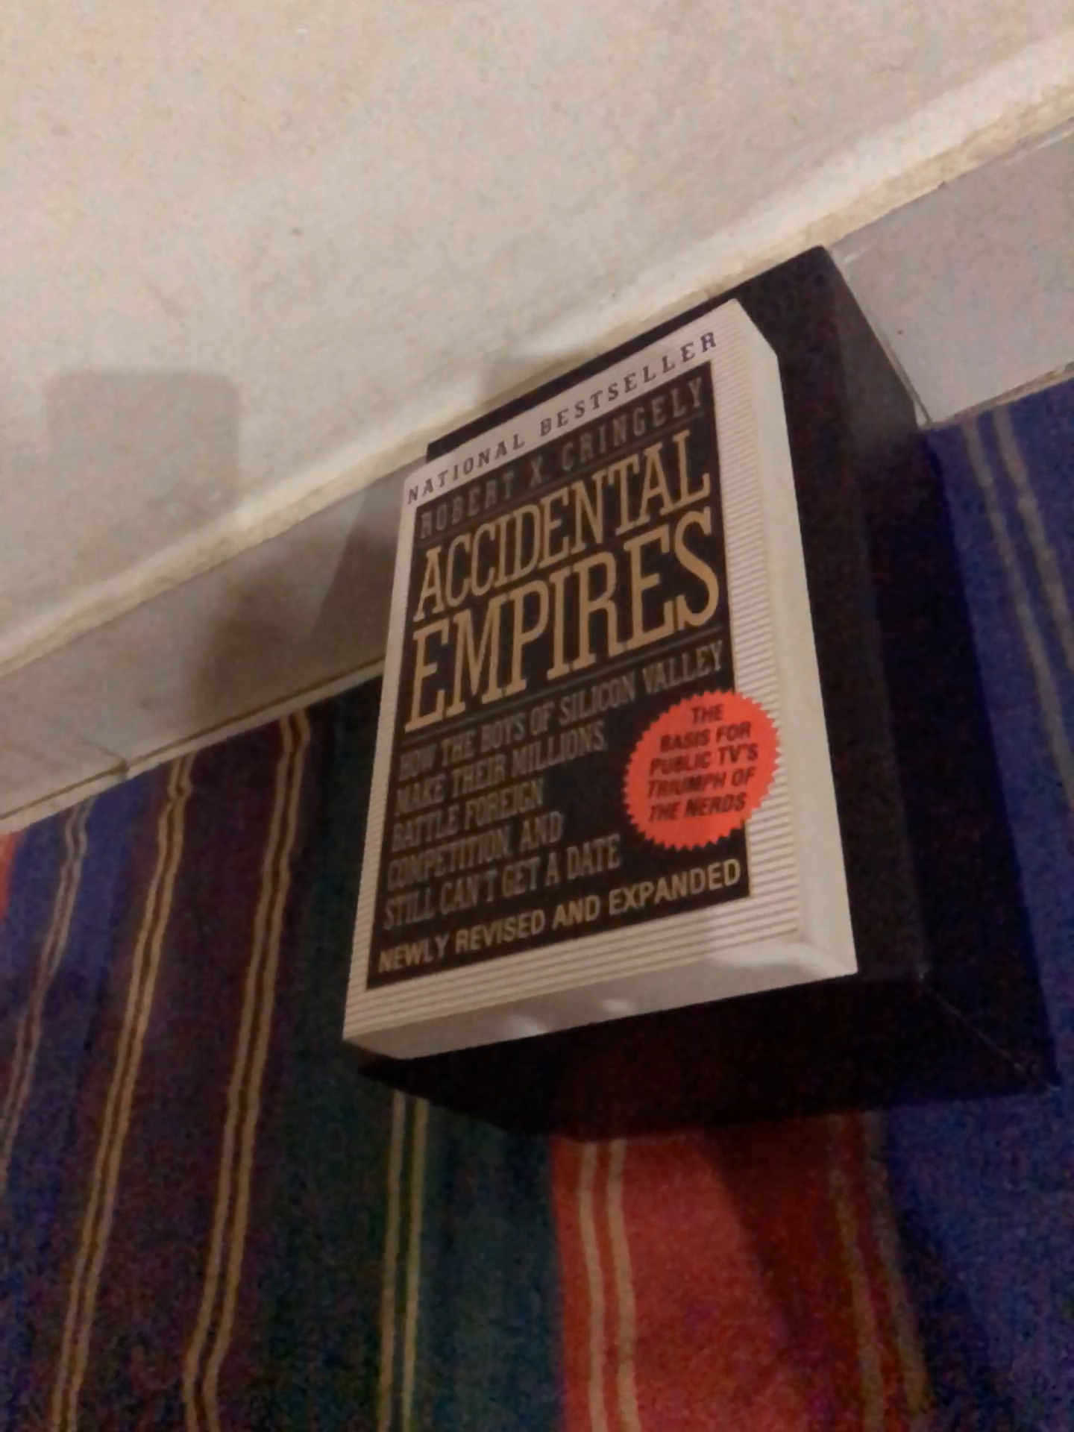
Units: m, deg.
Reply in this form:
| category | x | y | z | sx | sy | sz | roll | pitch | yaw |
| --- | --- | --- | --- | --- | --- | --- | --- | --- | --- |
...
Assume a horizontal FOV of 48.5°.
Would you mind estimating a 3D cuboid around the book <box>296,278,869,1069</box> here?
| category | x | y | z | sx | sy | sz | roll | pitch | yaw |
| --- | --- | --- | --- | --- | --- | --- | --- | --- | --- |
| book | 0.008 | -0.014 | 0.324 | 0.130 | 0.040 | 0.190 | -20 | 51 | 29 |
